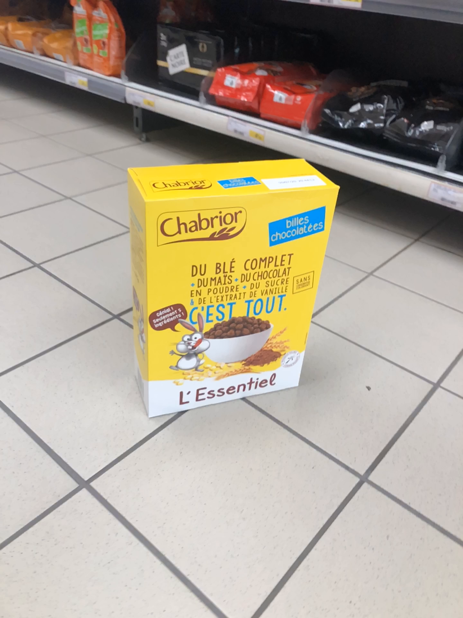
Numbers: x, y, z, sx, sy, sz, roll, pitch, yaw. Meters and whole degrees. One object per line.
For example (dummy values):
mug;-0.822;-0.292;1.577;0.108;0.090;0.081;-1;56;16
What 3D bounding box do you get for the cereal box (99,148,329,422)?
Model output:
cereal box;-0.027;-0.024;0.554;0.200;0.268;0.090;-7;35;-19
